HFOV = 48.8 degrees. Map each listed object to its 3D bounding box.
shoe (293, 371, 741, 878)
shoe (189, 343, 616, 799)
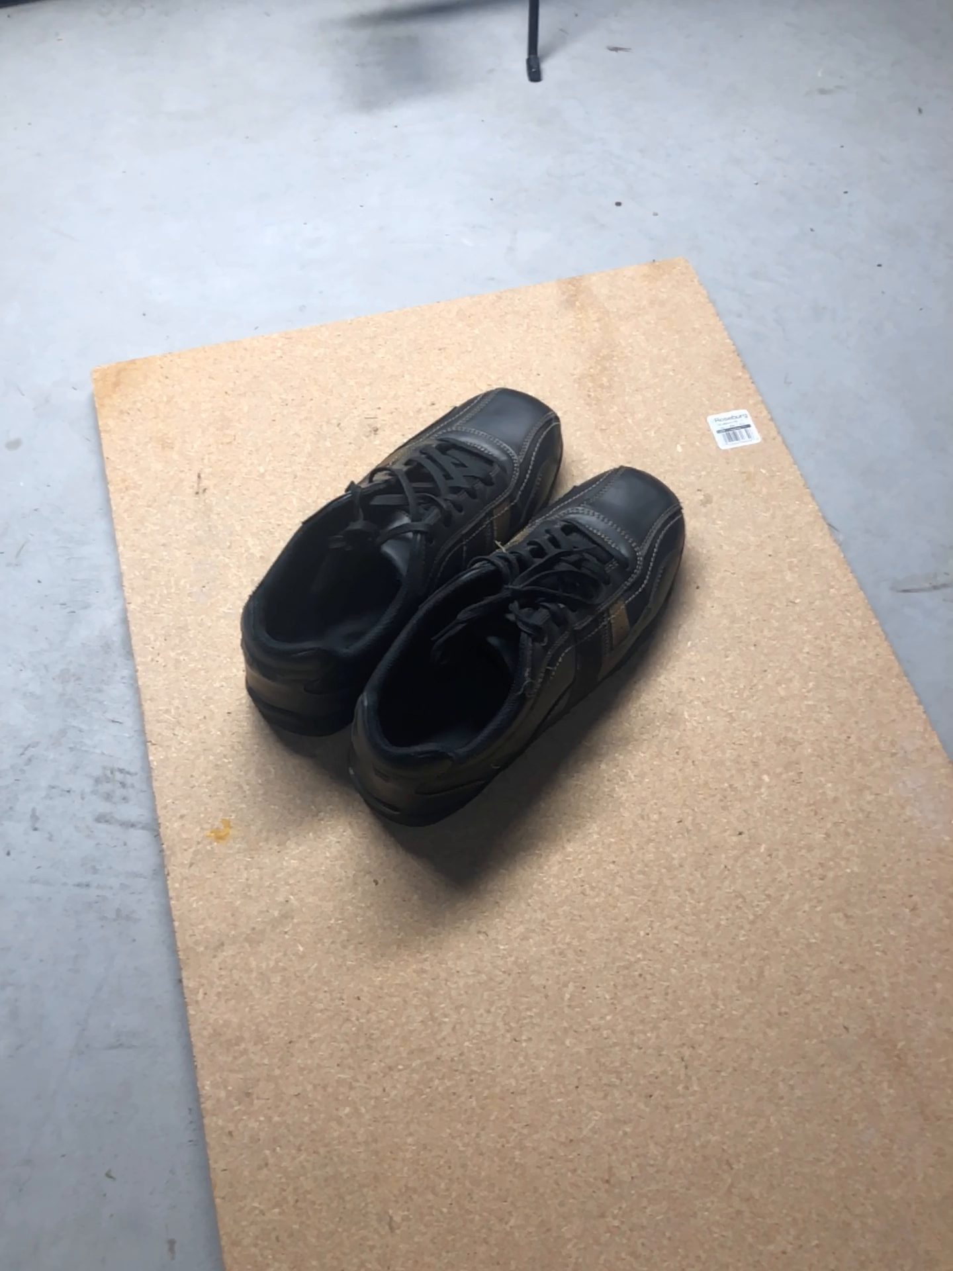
[{"bbox_3d":[0.035,-0.014,0.630,0.100,0.100,0.290,31,66,23],"label":"shoe"},{"bbox_3d":[-0.039,-0.051,0.696,0.100,0.100,0.300,35,63,13],"label":"shoe"}]
